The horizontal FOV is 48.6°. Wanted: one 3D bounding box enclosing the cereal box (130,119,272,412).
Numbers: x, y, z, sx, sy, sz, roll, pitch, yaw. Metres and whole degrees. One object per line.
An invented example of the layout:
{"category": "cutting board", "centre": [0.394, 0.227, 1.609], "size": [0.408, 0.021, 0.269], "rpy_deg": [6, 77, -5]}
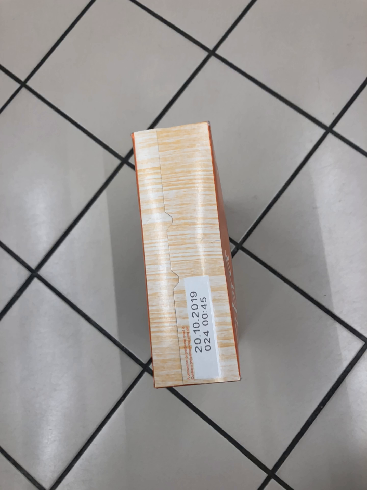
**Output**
{"category": "cereal box", "centre": [0.021, 0.028, 0.406], "size": [0.080, 0.240, 0.200], "rpy_deg": [-7, 81, 5]}
